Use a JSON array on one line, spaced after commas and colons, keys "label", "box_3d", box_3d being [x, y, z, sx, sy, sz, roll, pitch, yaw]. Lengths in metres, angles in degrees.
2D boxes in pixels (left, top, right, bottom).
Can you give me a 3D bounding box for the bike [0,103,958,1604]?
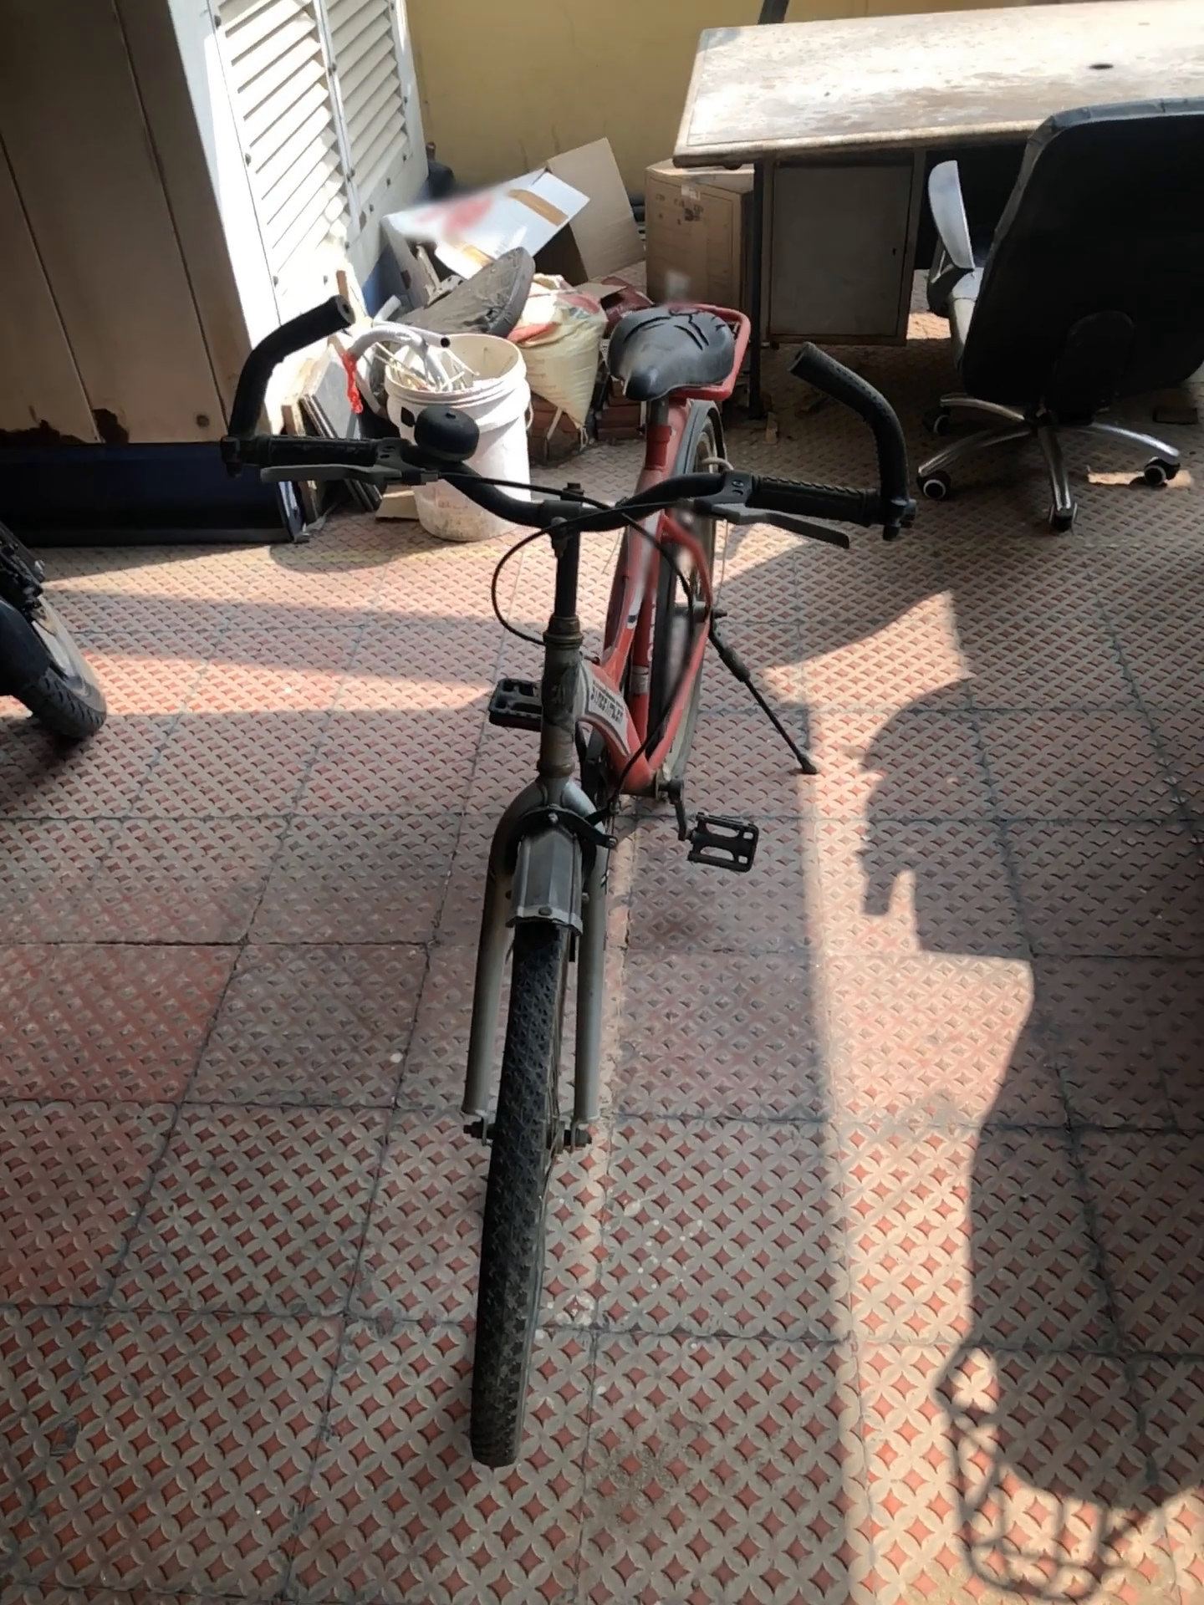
[{"label": "bike", "box_3d": [0.048, -0.135, 1.597, 0.575, 0.963, 1.620, 4, 40, 10]}]
